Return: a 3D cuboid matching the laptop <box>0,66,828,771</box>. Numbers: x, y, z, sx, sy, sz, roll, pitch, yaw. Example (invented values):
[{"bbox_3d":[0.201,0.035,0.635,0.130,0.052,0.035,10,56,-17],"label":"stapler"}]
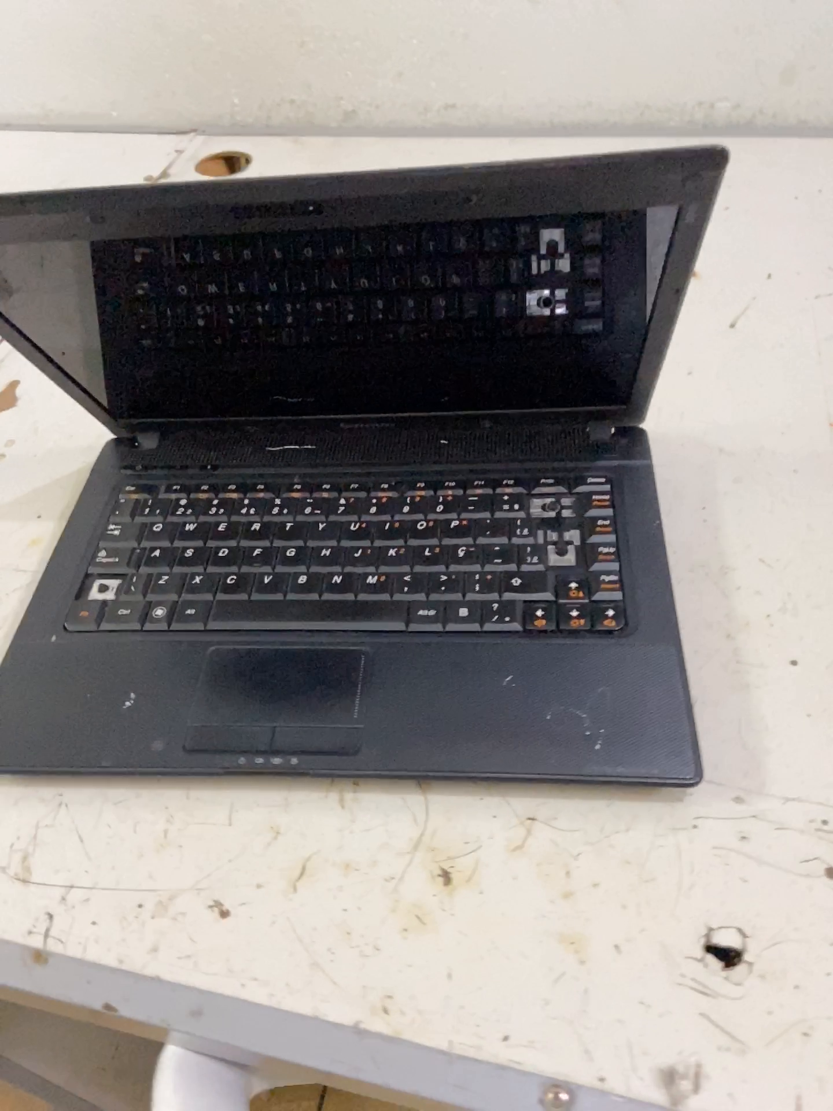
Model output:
[{"bbox_3d":[-0.044,-0.056,0.380,0.333,0.194,0.224,-1,48,7],"label":"laptop"}]
